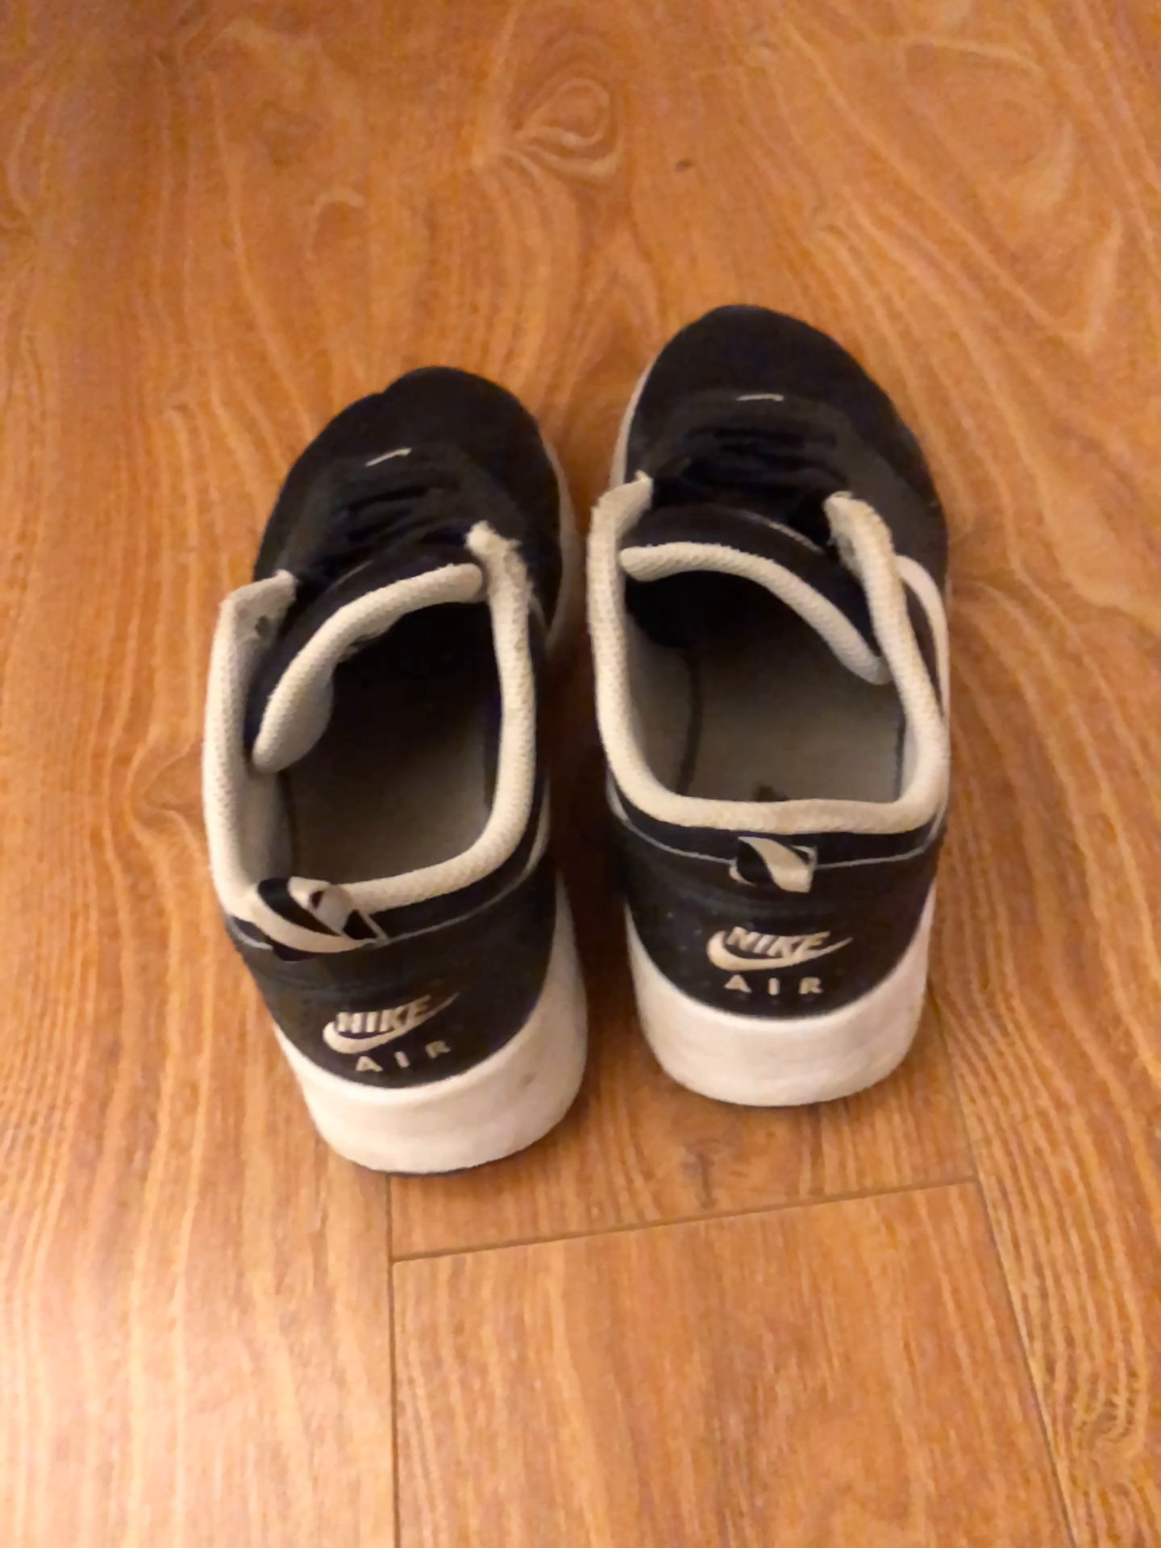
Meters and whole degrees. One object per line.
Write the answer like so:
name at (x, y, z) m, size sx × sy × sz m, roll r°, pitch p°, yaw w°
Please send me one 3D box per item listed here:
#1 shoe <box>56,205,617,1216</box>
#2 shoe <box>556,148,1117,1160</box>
shoe at (-0.045, -0.024, 0.310) m, size 0.090 × 0.080 × 0.231 m, roll -5°, pitch 59°, yaw 4°
shoe at (0.049, -0.037, 0.303) m, size 0.090 × 0.080 × 0.231 m, roll -1°, pitch 59°, yaw 6°
